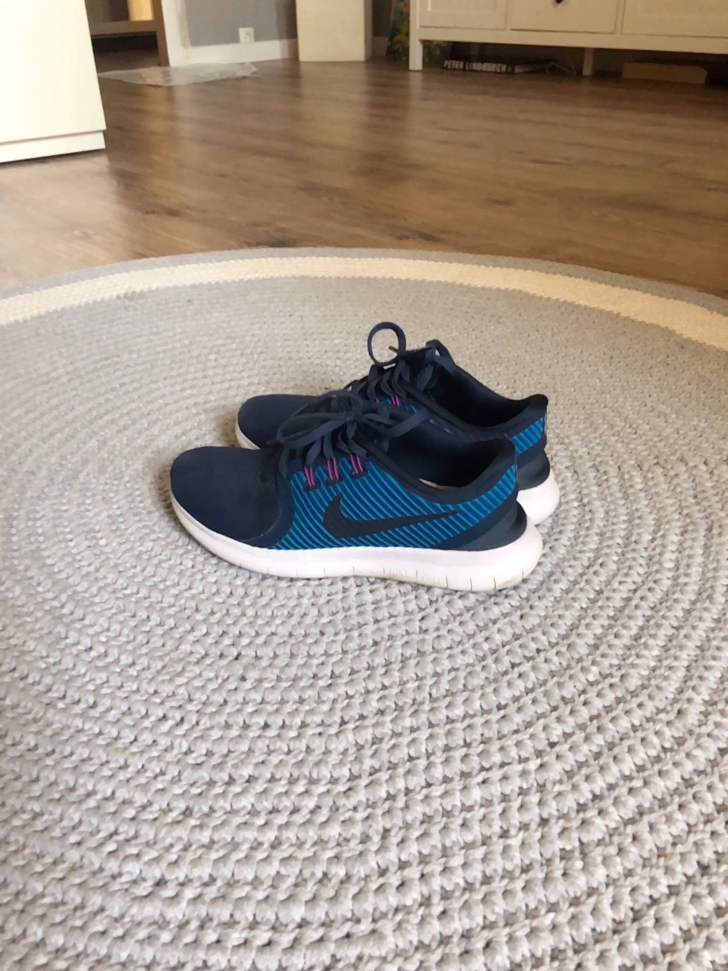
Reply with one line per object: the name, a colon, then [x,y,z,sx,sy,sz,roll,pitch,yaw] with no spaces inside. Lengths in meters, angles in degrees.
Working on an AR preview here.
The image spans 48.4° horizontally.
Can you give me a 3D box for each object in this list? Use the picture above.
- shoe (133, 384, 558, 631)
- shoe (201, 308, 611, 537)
shoe: [-0.009,0.006,0.522,0.244,0.080,0.100,9,33,16]
shoe: [0.026,-0.055,0.589,0.270,0.080,0.100,14,35,23]
